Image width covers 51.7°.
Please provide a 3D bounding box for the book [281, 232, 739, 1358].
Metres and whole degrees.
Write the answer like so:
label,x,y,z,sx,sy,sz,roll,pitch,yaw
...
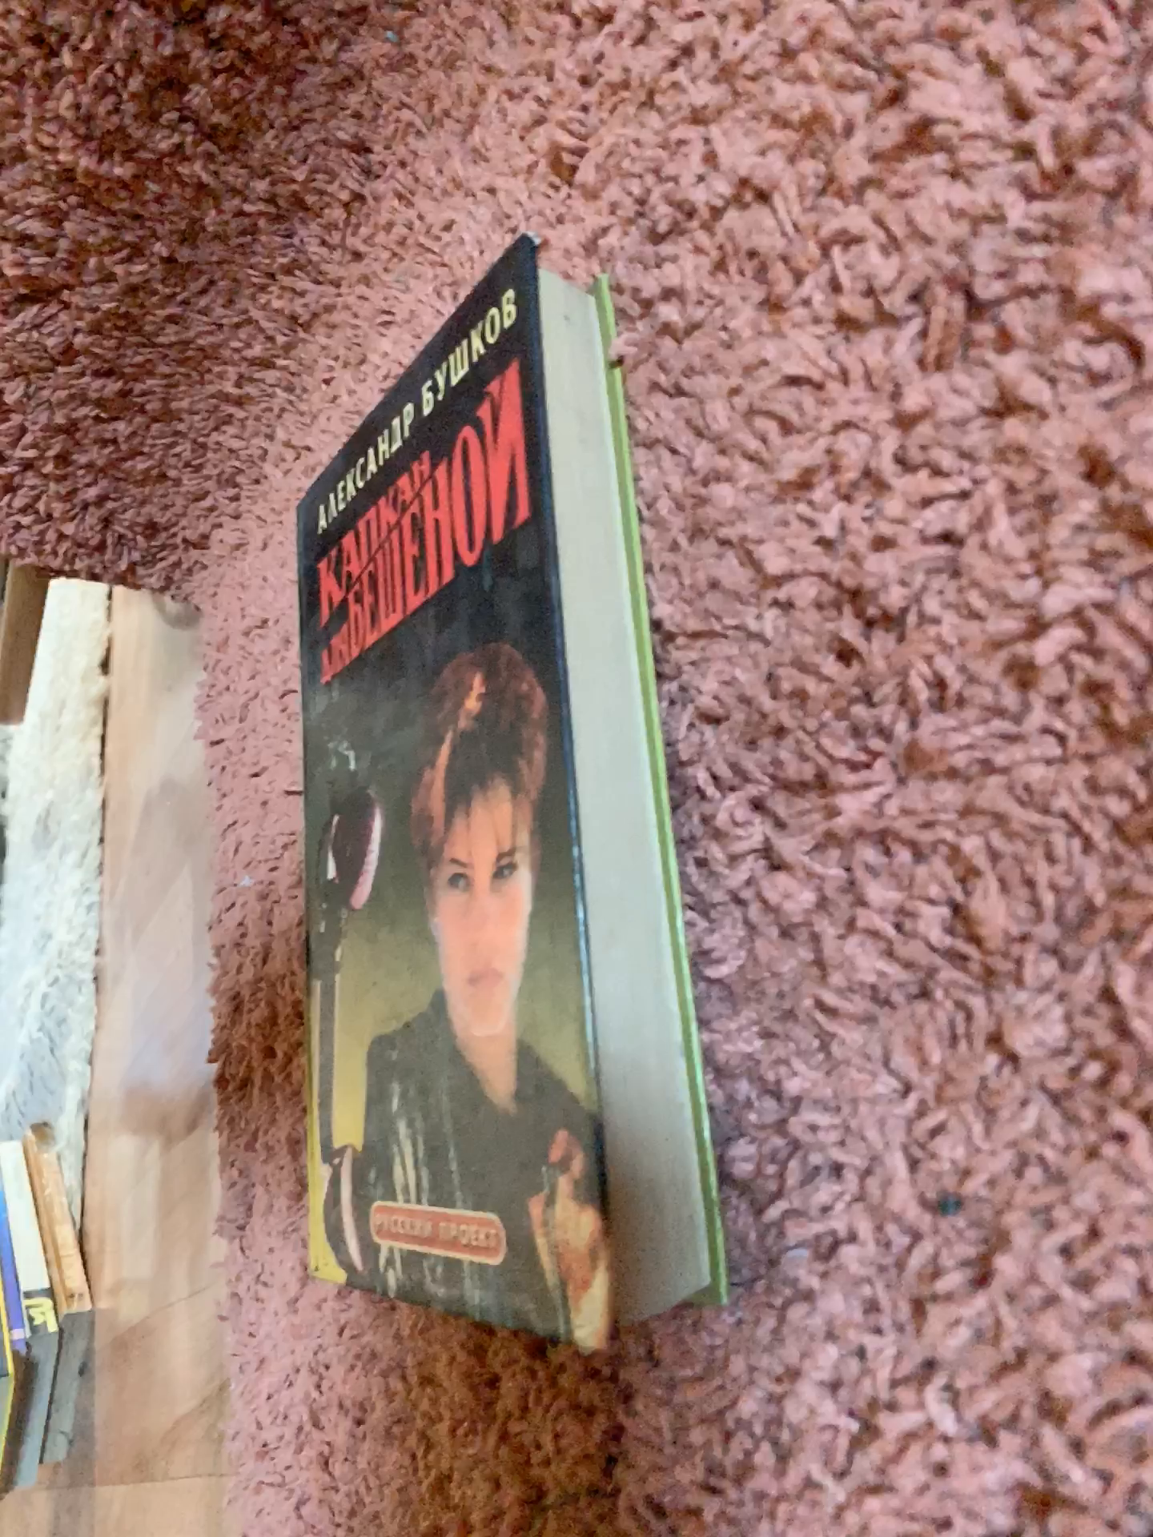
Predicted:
label,x,y,z,sx,sy,sz,roll,pitch,yaw
book,-0.027,0.009,0.253,0.125,0.027,0.190,-25,66,54
